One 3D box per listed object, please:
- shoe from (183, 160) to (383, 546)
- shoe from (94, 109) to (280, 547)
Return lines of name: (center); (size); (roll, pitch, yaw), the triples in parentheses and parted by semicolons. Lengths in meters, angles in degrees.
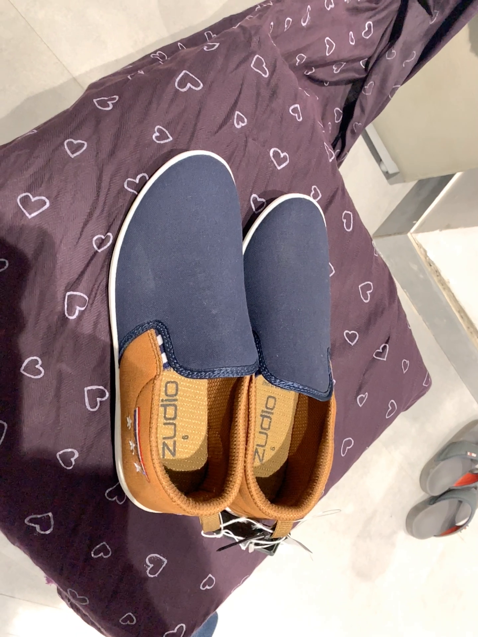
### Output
shoe: (0.035, 0.029, 0.390); (0.100, 0.060, 0.270); (10, 89, -29)
shoe: (-0.038, 0.008, 0.351); (0.100, 0.060, 0.270); (3, 92, -29)
